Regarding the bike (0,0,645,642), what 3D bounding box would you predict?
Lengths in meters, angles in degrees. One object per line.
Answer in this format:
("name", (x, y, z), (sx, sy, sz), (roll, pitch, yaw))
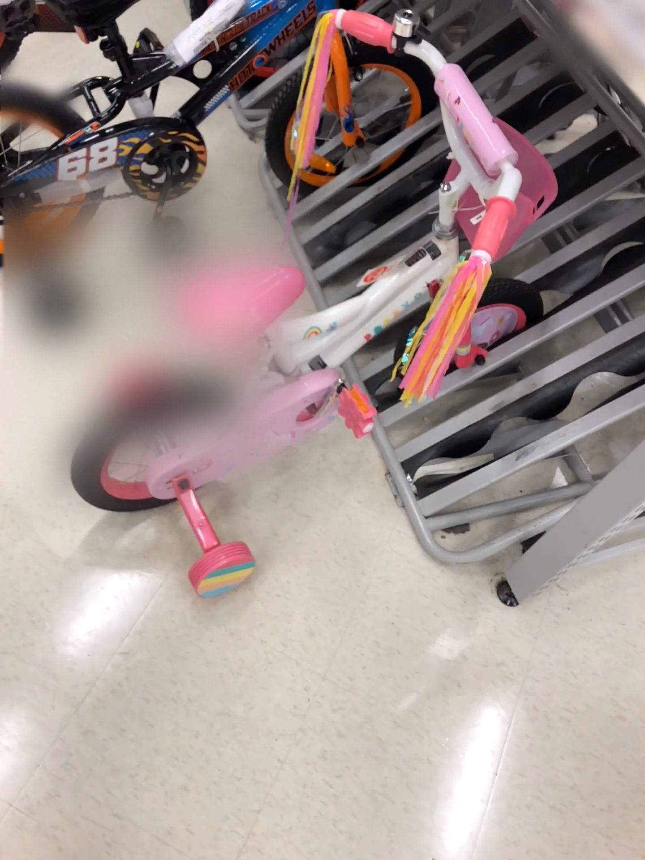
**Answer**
("bike", (0.065, -0.205, 1.084), (0.943, 0.592, 0.517), (-20, 63, -23))
